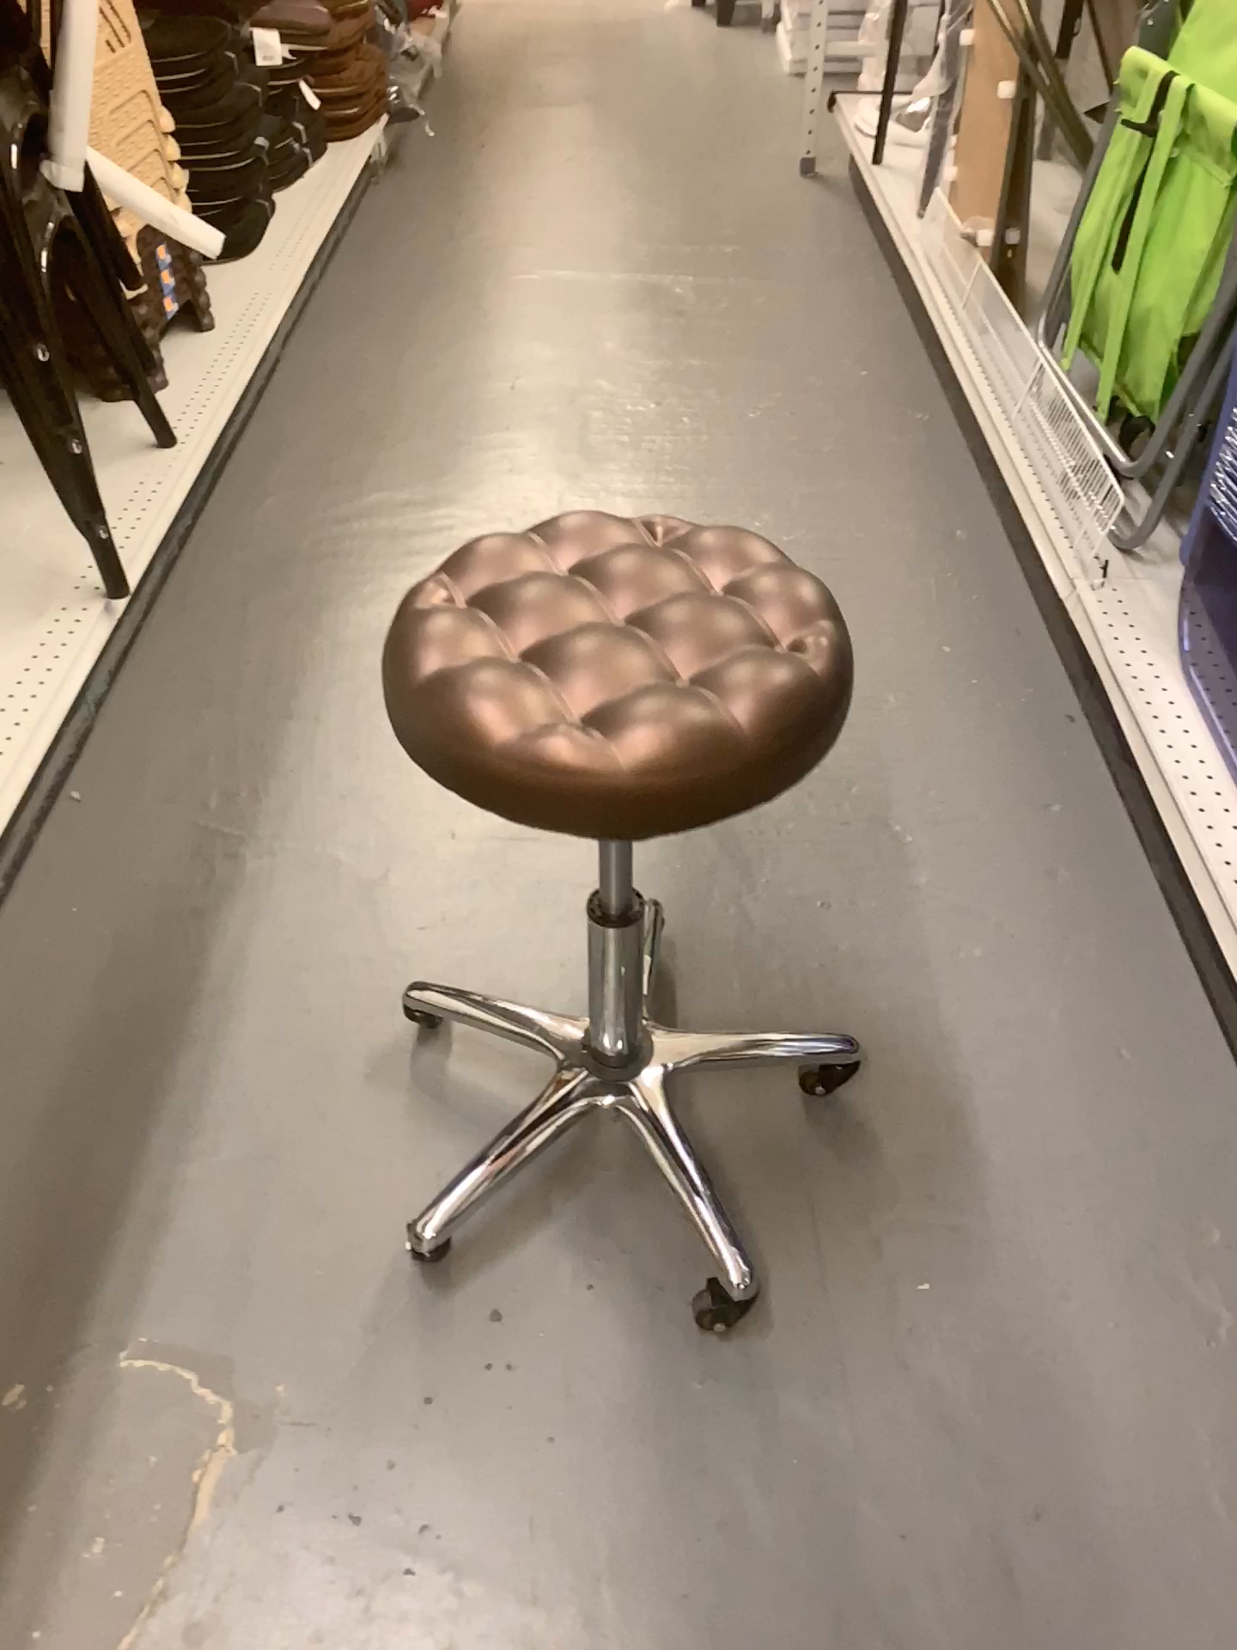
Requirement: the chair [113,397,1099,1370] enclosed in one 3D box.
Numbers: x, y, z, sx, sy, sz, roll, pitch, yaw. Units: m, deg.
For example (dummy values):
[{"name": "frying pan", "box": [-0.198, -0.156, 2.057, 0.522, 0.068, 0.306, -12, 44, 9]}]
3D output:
[{"name": "chair", "box": [0.001, 0.045, 1.019, 0.501, 0.573, 0.514, 2, 42, 2]}]
